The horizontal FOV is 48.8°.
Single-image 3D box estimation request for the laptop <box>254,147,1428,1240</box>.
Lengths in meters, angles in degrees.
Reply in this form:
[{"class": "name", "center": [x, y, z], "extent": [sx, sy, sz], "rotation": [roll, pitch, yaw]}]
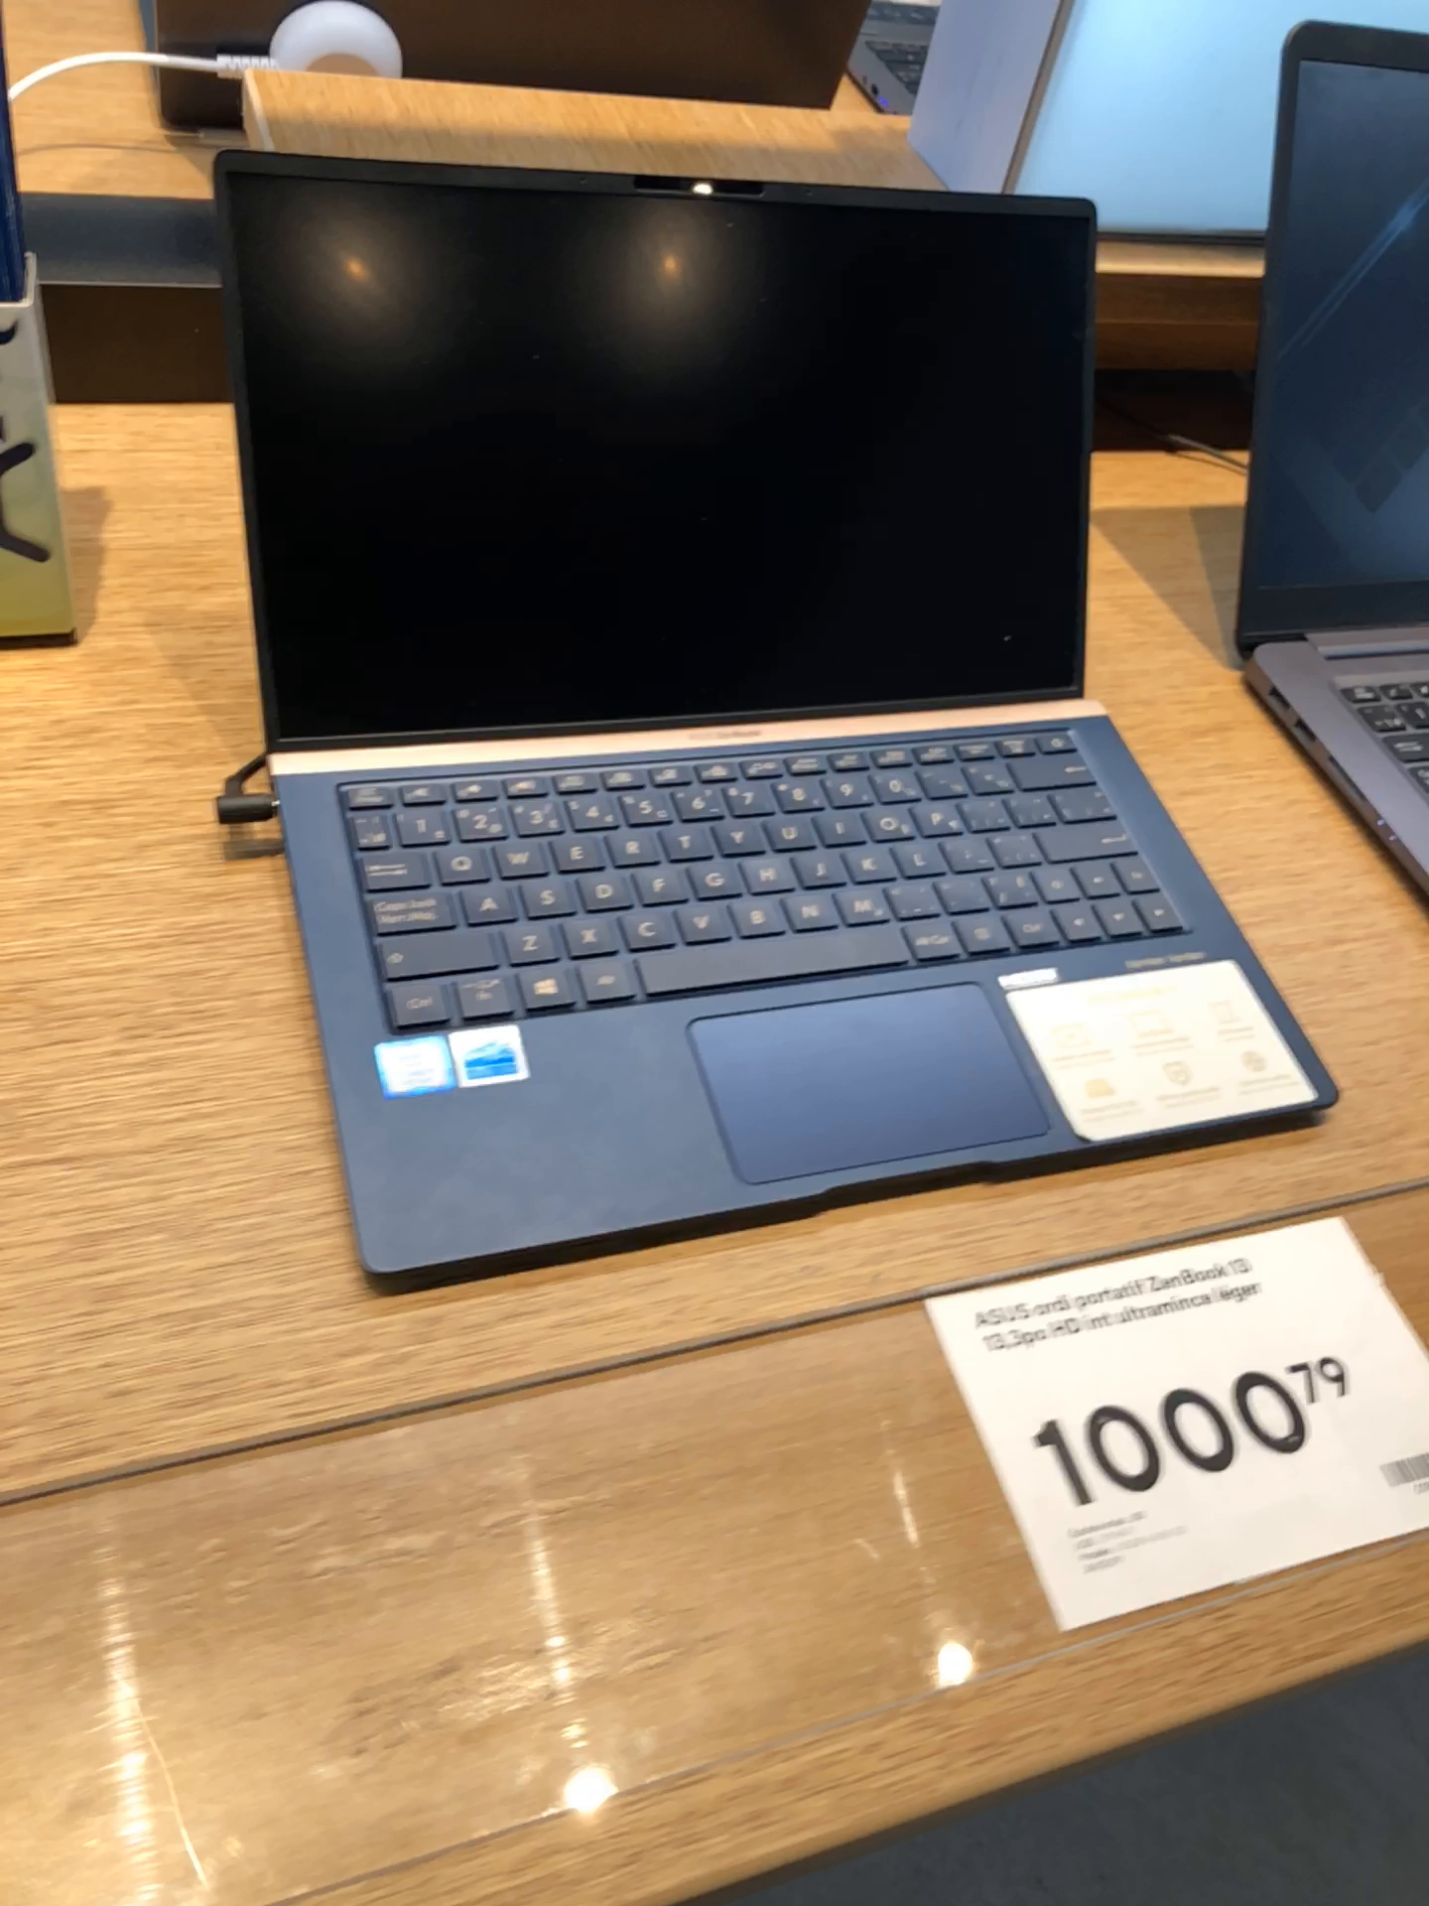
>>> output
[{"class": "laptop", "center": [0.019, -0.099, 0.467], "extent": [0.276, 0.130, 0.277], "rotation": [-7, 53, -18]}]
